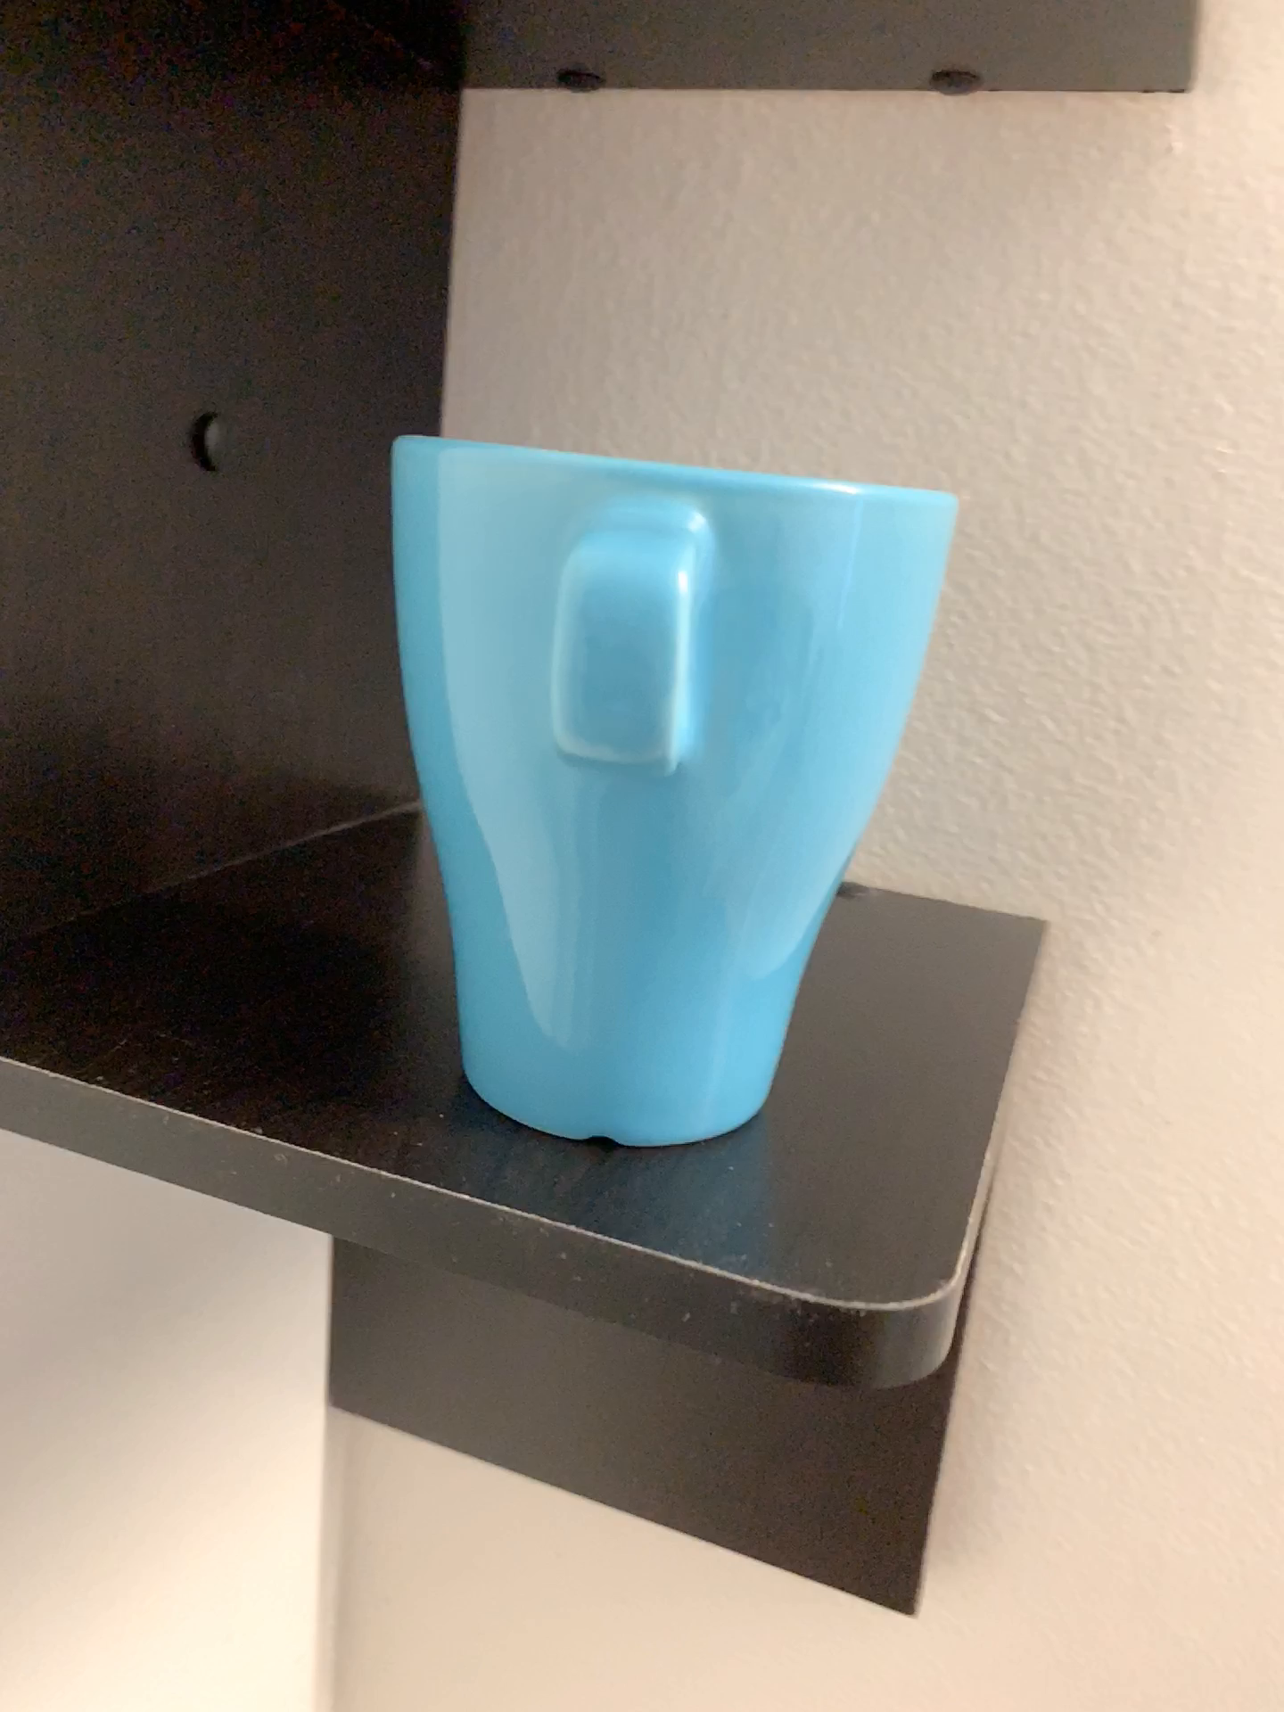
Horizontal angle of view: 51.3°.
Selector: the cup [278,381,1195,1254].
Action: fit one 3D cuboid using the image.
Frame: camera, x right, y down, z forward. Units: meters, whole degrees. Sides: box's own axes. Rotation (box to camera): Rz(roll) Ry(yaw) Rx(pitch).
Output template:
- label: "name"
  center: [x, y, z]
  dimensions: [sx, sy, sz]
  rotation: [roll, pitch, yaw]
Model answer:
- label: "cup"
  center: [0.003, -0.013, 0.197]
  dimensions: [0.090, 0.090, 0.110]
  rotation: [4, 14, -7]
